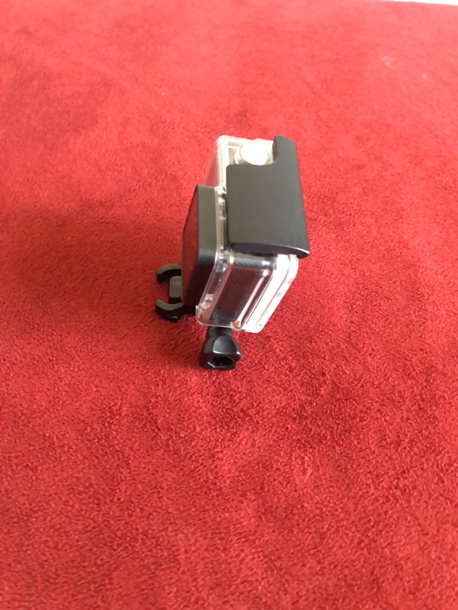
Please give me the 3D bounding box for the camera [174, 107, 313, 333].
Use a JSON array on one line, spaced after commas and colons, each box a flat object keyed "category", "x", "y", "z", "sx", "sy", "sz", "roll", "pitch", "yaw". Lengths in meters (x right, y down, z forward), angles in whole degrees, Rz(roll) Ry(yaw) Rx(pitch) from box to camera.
[{"category": "camera", "x": 0.001, "y": -0.034, "z": 0.209, "sx": 0.040, "sy": 0.050, "sz": 0.073, "roll": 6, "pitch": 53, "yaw": -13}]
